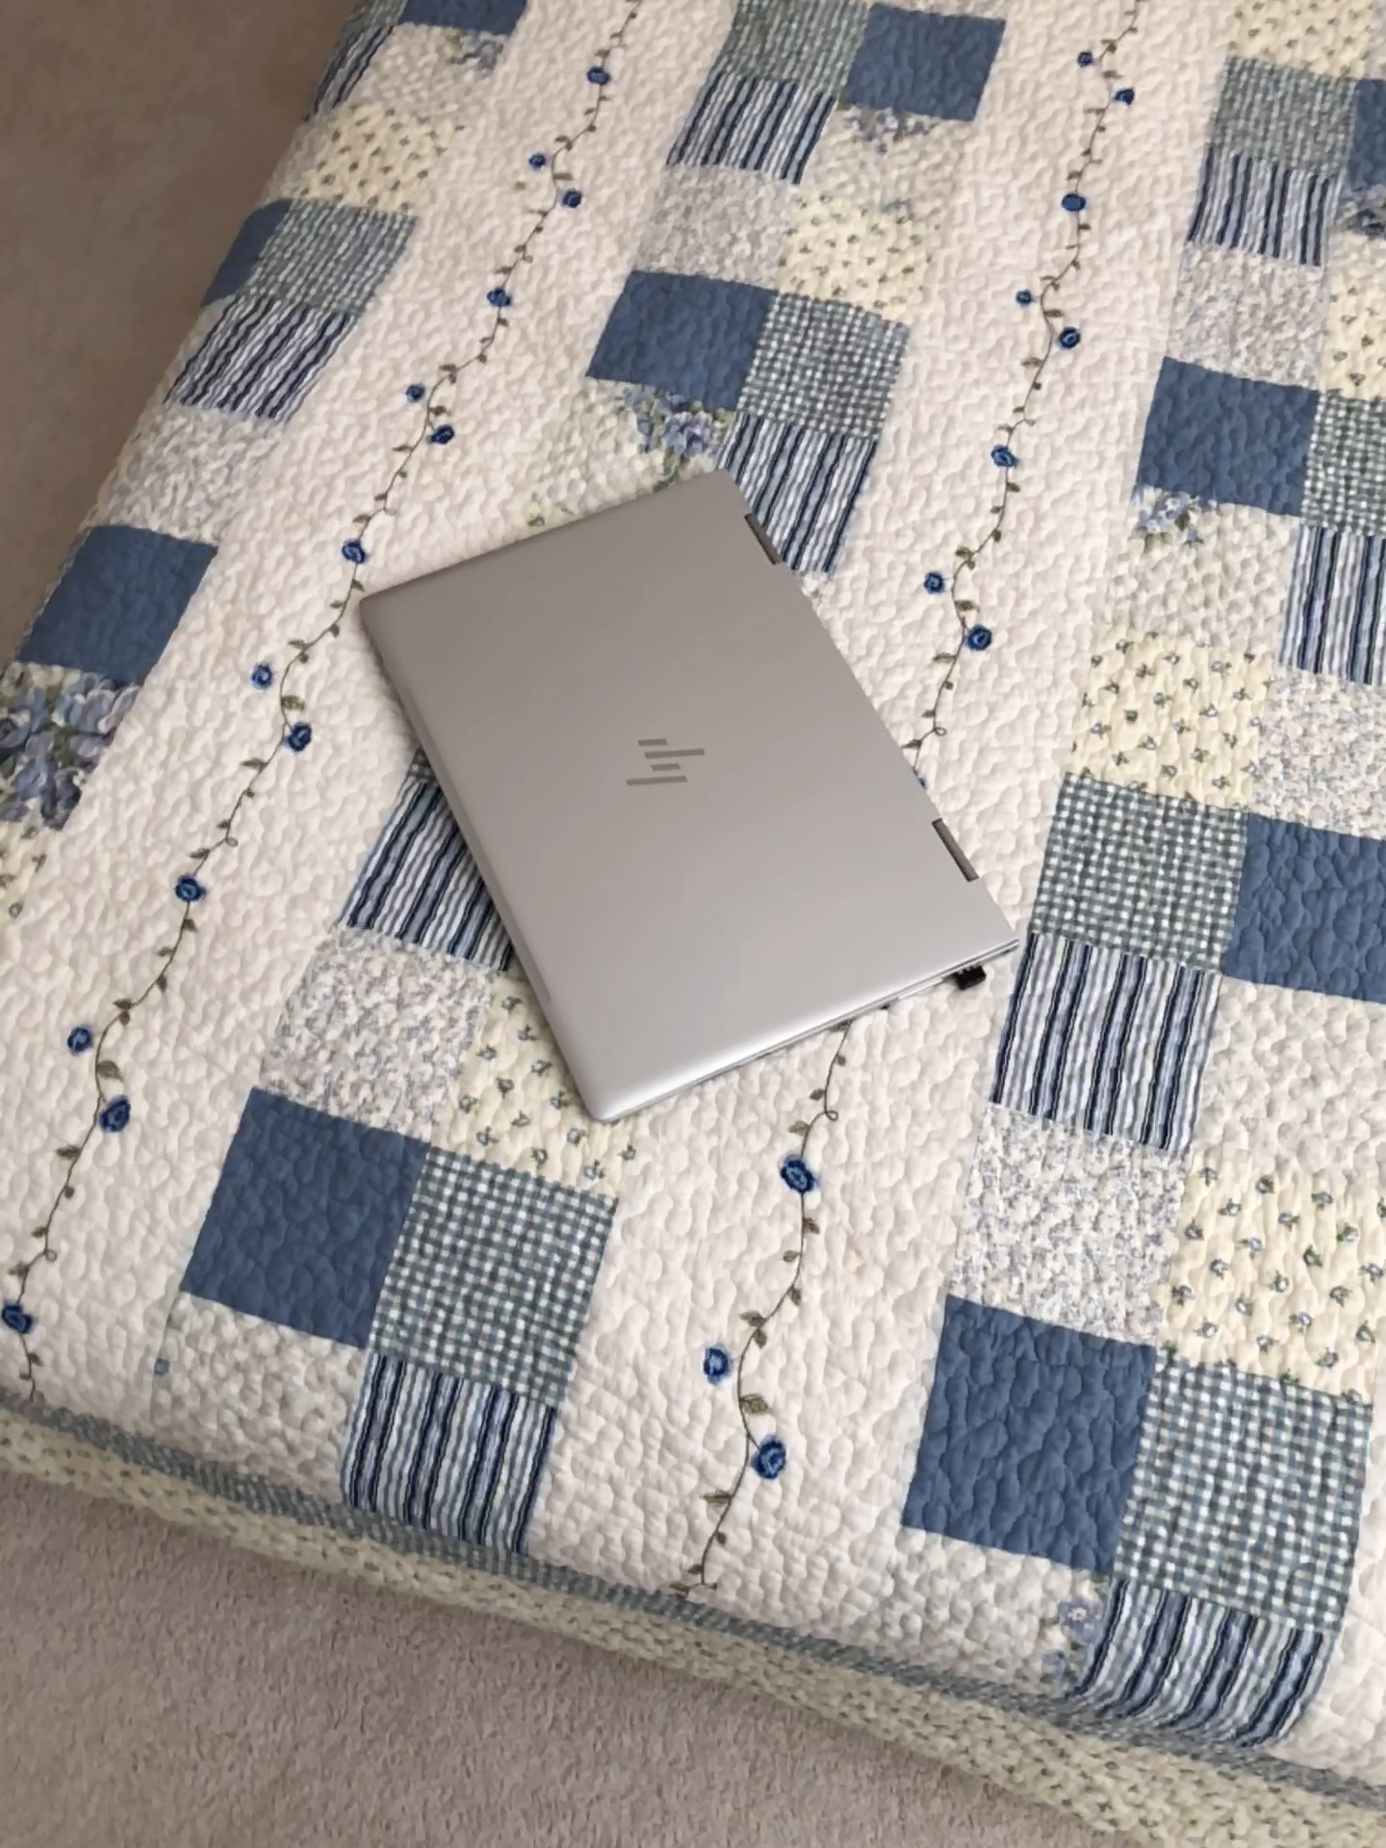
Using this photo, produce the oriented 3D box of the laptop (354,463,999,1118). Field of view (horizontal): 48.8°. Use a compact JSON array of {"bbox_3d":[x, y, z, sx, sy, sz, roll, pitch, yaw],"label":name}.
[{"bbox_3d":[-0.021,-0.103,0.933,0.256,0.011,0.386,-23,66,-11],"label":"laptop"}]
